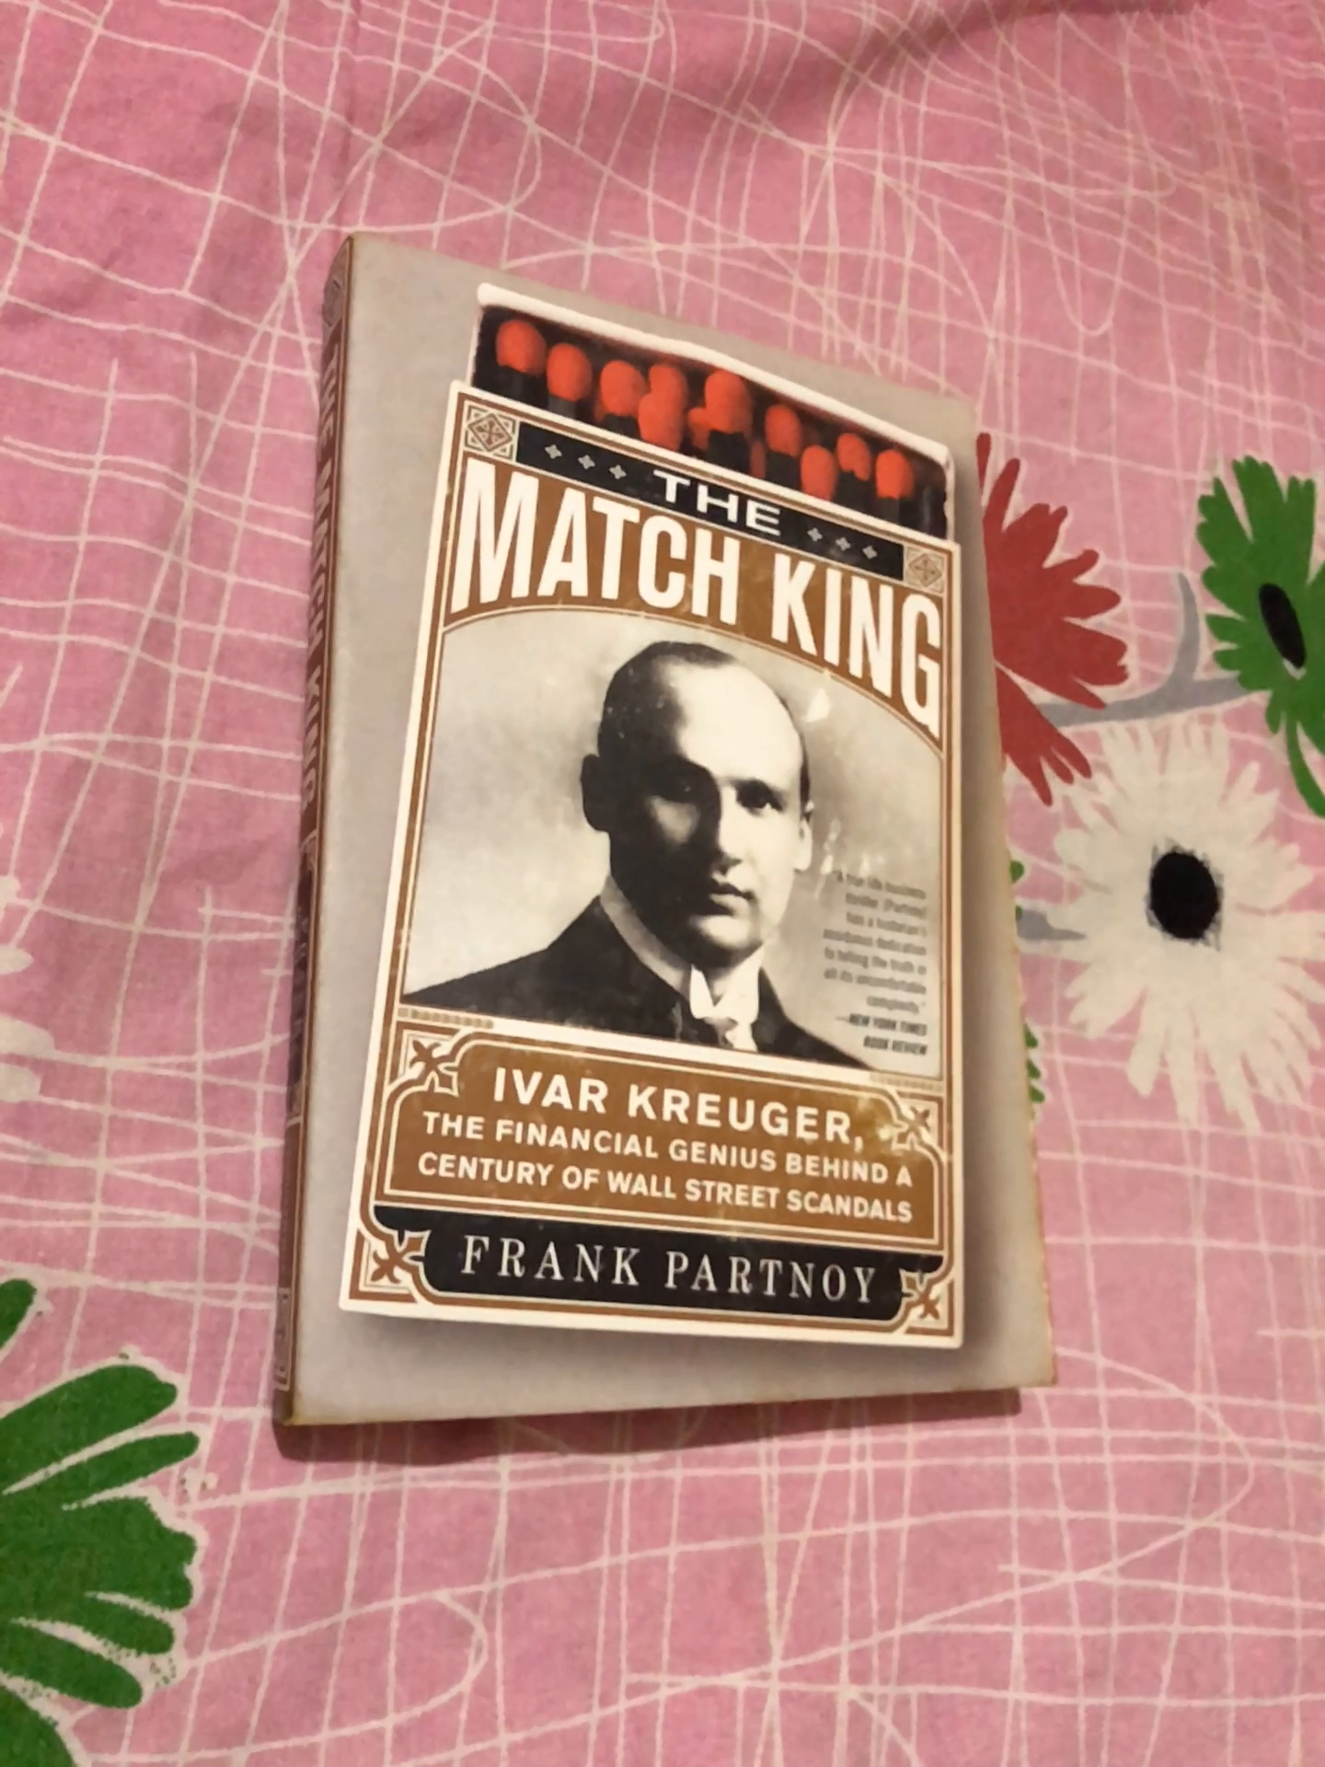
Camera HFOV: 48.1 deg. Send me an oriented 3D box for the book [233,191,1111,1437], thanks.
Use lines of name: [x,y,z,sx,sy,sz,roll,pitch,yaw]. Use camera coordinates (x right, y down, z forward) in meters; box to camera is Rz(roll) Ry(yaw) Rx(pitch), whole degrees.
book: [0.002,-0.017,0.309,0.161,0.030,0.240,7,66,-25]
